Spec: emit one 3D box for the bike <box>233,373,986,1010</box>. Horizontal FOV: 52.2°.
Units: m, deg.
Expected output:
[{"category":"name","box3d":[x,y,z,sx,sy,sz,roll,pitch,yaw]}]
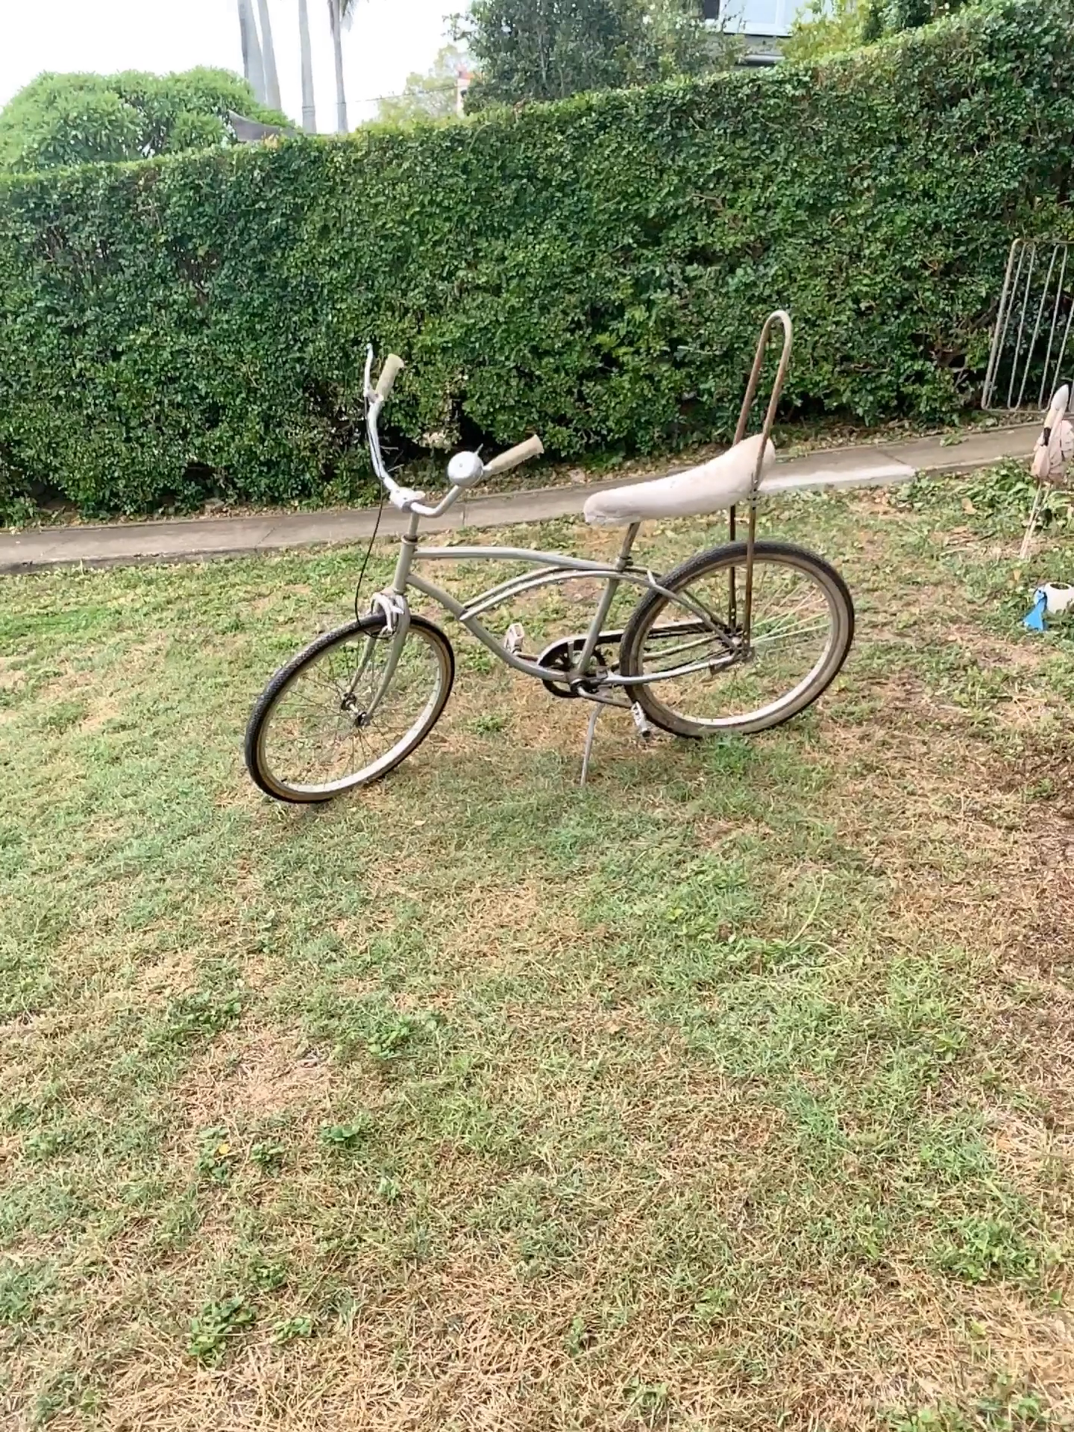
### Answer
[{"category":"bike","box3d":[0.083,-0.147,2.769,1.599,0.991,0.804,-11,23,-9]}]
